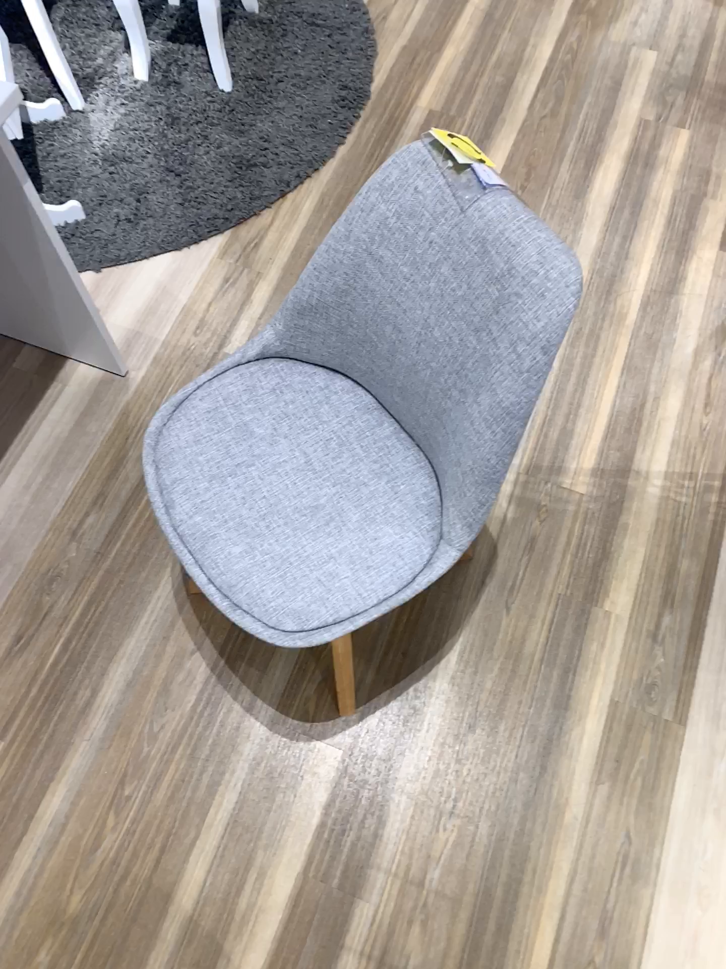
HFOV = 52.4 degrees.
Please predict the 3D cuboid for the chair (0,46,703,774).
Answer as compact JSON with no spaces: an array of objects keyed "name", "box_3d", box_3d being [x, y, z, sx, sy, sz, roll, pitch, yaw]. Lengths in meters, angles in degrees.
[{"name":"chair","box_3d":[-0.054,0.007,1.077,0.516,0.858,0.514,-34,70,-15]}]
